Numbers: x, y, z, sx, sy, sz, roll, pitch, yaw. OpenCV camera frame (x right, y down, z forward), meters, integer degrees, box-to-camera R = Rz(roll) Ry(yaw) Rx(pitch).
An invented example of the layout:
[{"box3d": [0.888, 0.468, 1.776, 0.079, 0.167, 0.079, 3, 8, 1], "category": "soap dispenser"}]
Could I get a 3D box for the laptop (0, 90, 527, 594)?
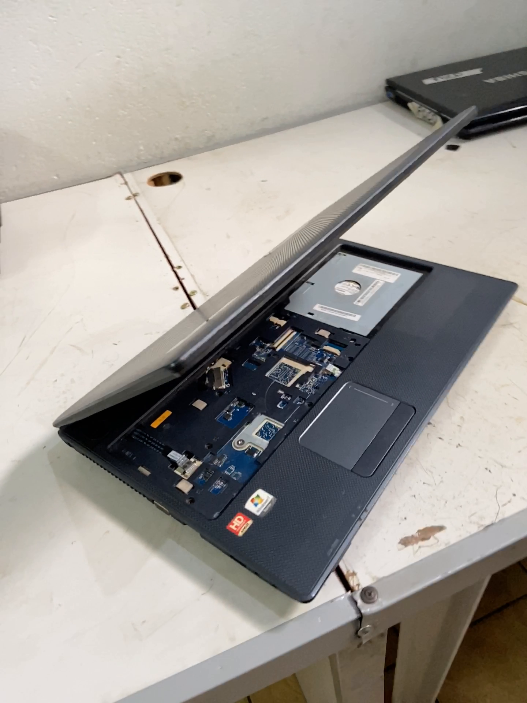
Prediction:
[{"box3d": [0.036, -0.061, 0.431, 0.239, 0.156, 0.371, 22, 49, 32], "category": "laptop"}]
